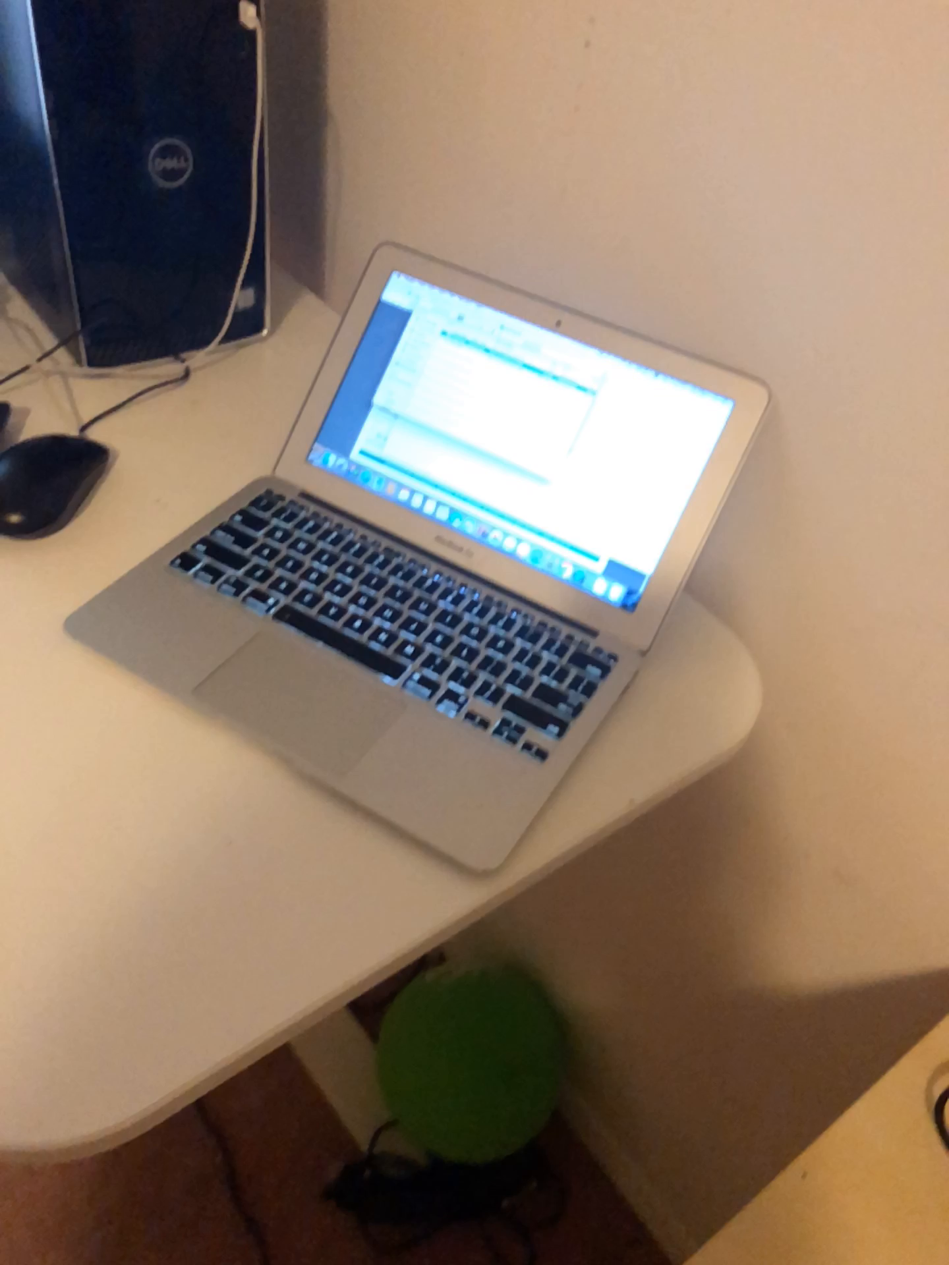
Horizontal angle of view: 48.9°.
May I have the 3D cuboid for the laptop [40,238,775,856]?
[{"bbox_3d":[-0.027,-0.081,0.616,0.281,0.126,0.306,25,48,21],"label":"laptop"}]
